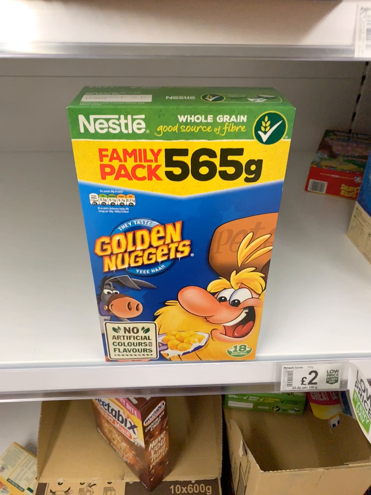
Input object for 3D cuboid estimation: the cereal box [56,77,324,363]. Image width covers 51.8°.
[{"bbox_3d":[0.001,-0.012,0.422,0.210,0.307,0.091,0,34,-2],"label":"cereal box"}]
